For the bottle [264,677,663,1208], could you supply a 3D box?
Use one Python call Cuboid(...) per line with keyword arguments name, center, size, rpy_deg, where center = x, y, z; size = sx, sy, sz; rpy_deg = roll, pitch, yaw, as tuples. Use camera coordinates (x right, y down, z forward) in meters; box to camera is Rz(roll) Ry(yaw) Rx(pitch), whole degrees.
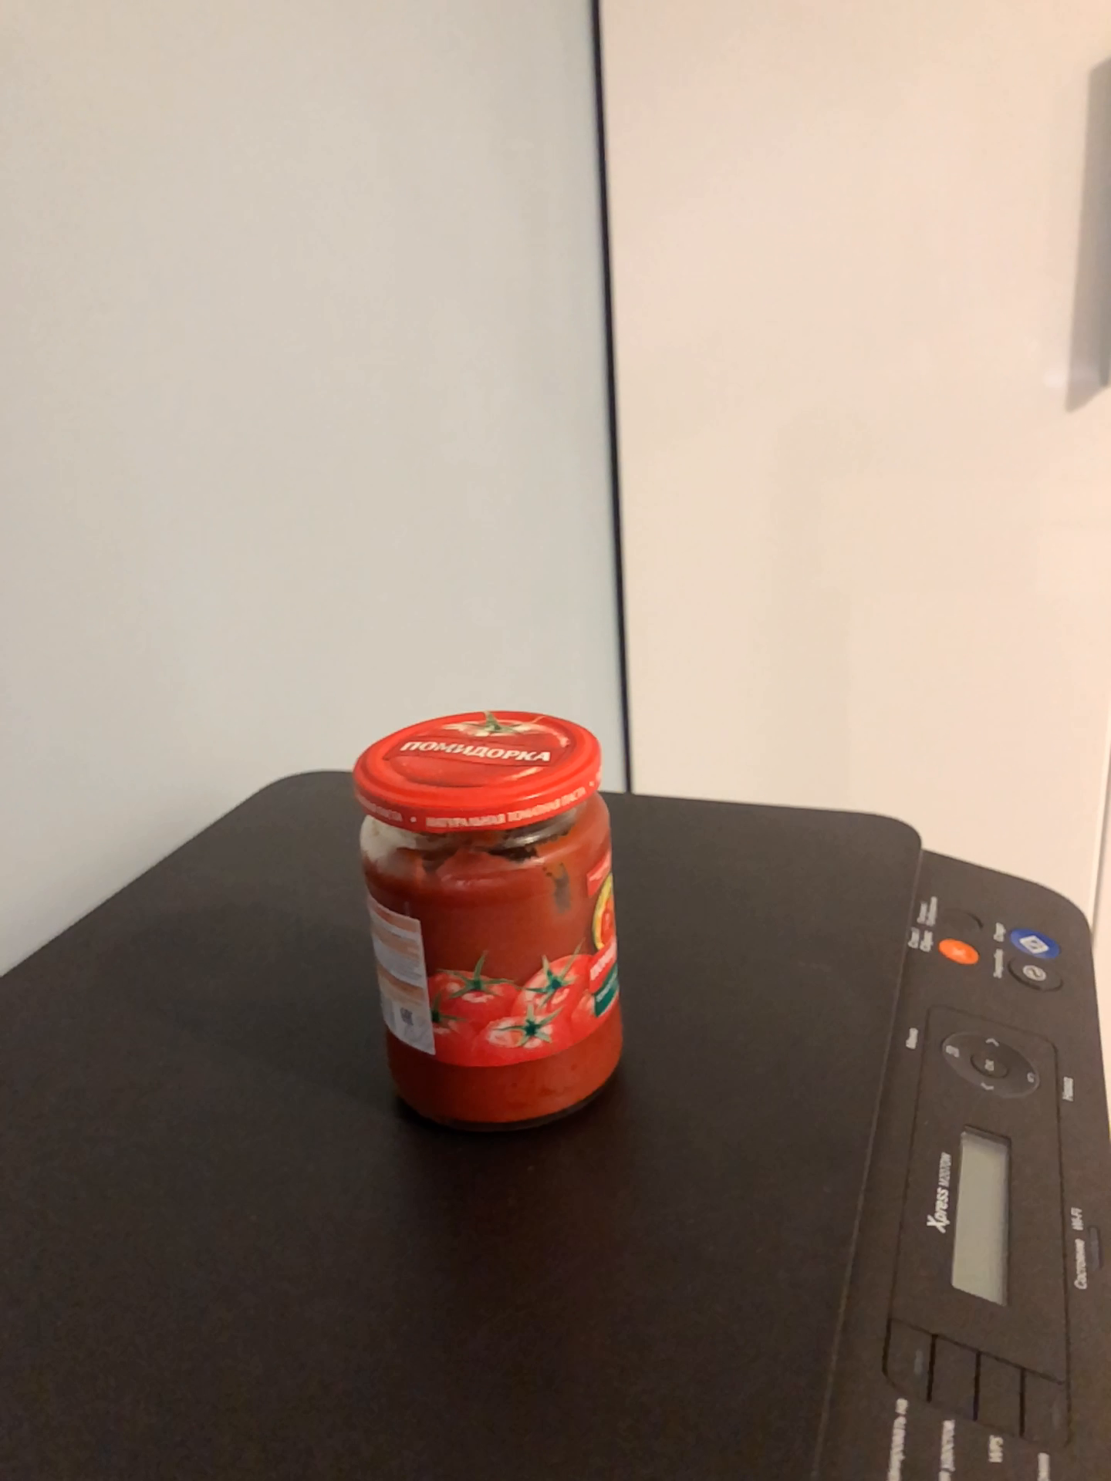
Cuboid(name="bottle", center=(-0.021, 0.050, 0.345), size=(0.070, 0.109, 0.080), rpy_deg=(9, 23, 30))
